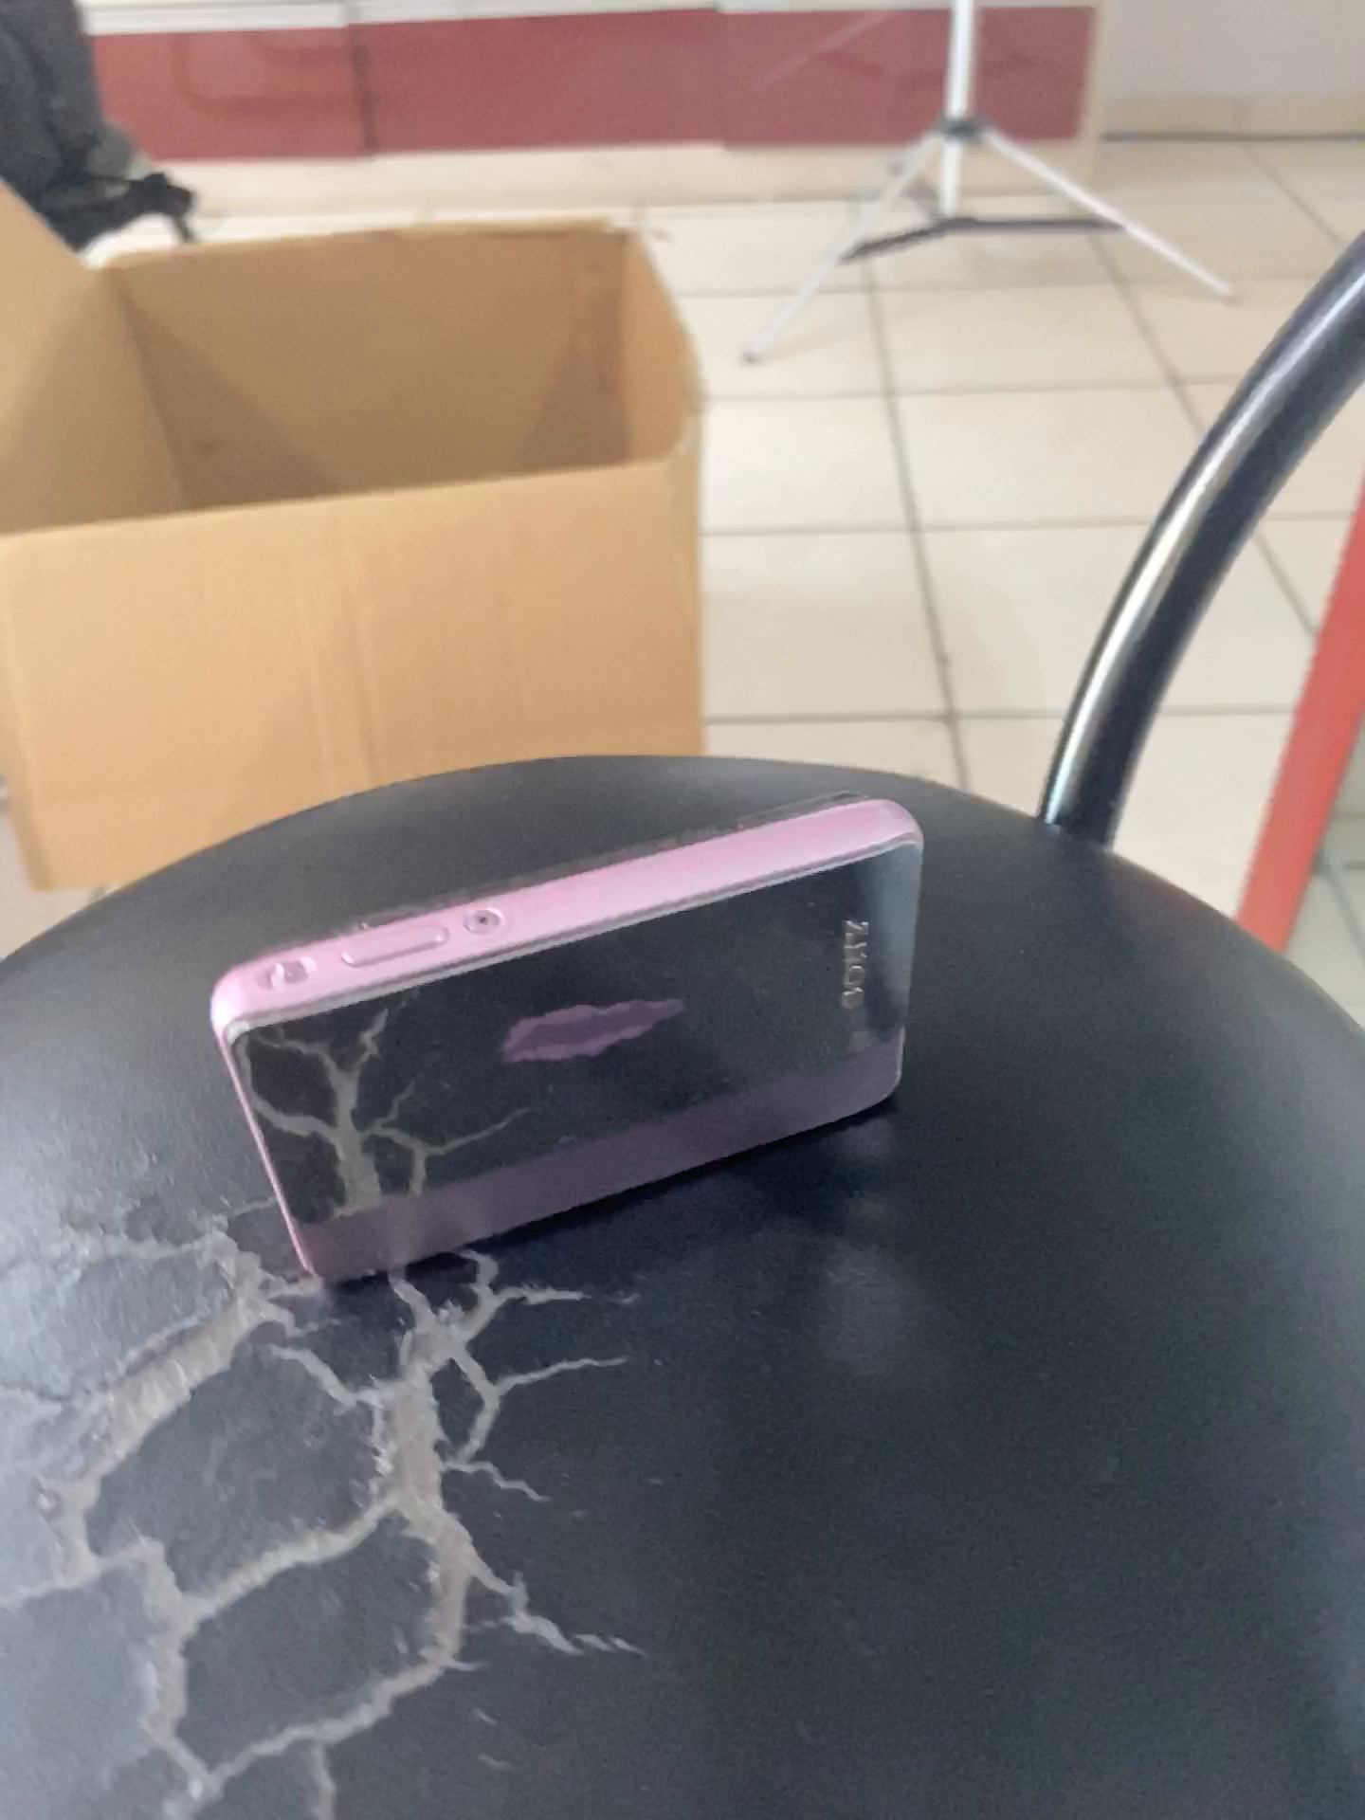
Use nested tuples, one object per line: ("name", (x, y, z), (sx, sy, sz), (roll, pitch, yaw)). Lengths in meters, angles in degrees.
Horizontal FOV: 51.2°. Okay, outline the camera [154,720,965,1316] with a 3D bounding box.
("camera", (-0.014, 0.014, 0.200), (0.100, 0.050, 0.030), (-16, 44, -14))
